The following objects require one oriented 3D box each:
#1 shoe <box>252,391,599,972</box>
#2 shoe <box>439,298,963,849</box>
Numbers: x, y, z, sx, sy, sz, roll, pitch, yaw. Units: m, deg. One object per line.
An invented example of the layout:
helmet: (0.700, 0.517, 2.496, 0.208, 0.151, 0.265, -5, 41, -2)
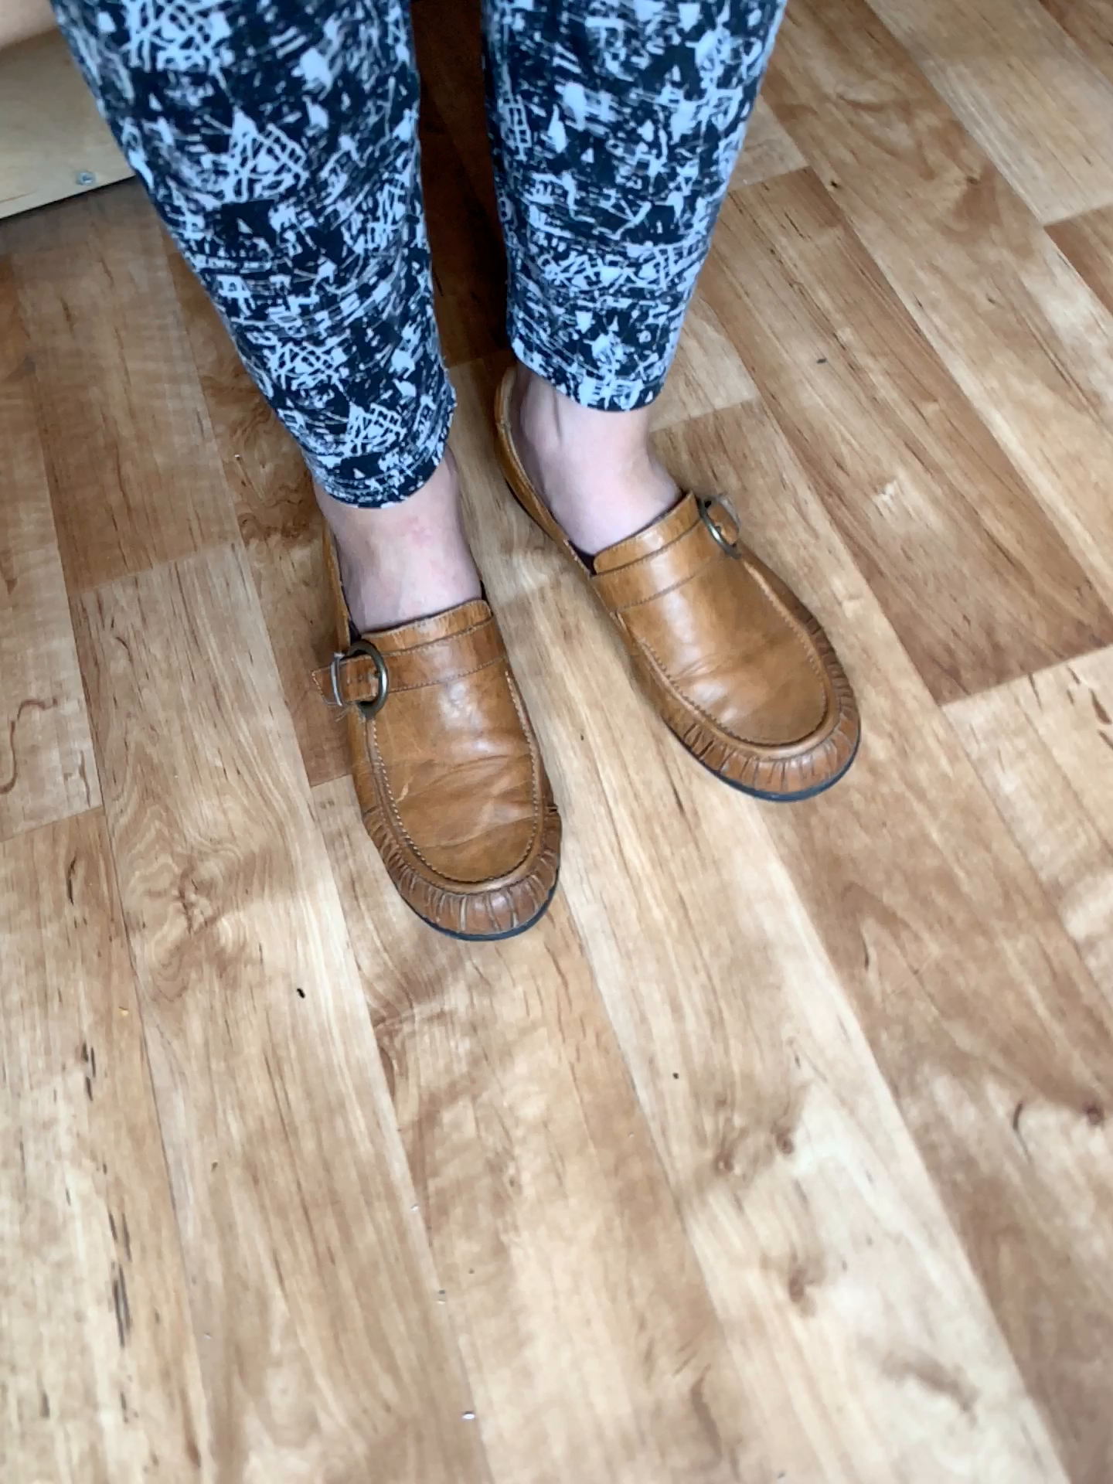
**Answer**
shoe: (-0.050, -0.025, 0.416, 0.080, 0.070, 0.190, -15, 63, -2)
shoe: (0.046, -0.067, 0.423, 0.080, 0.070, 0.190, -34, 65, -11)
